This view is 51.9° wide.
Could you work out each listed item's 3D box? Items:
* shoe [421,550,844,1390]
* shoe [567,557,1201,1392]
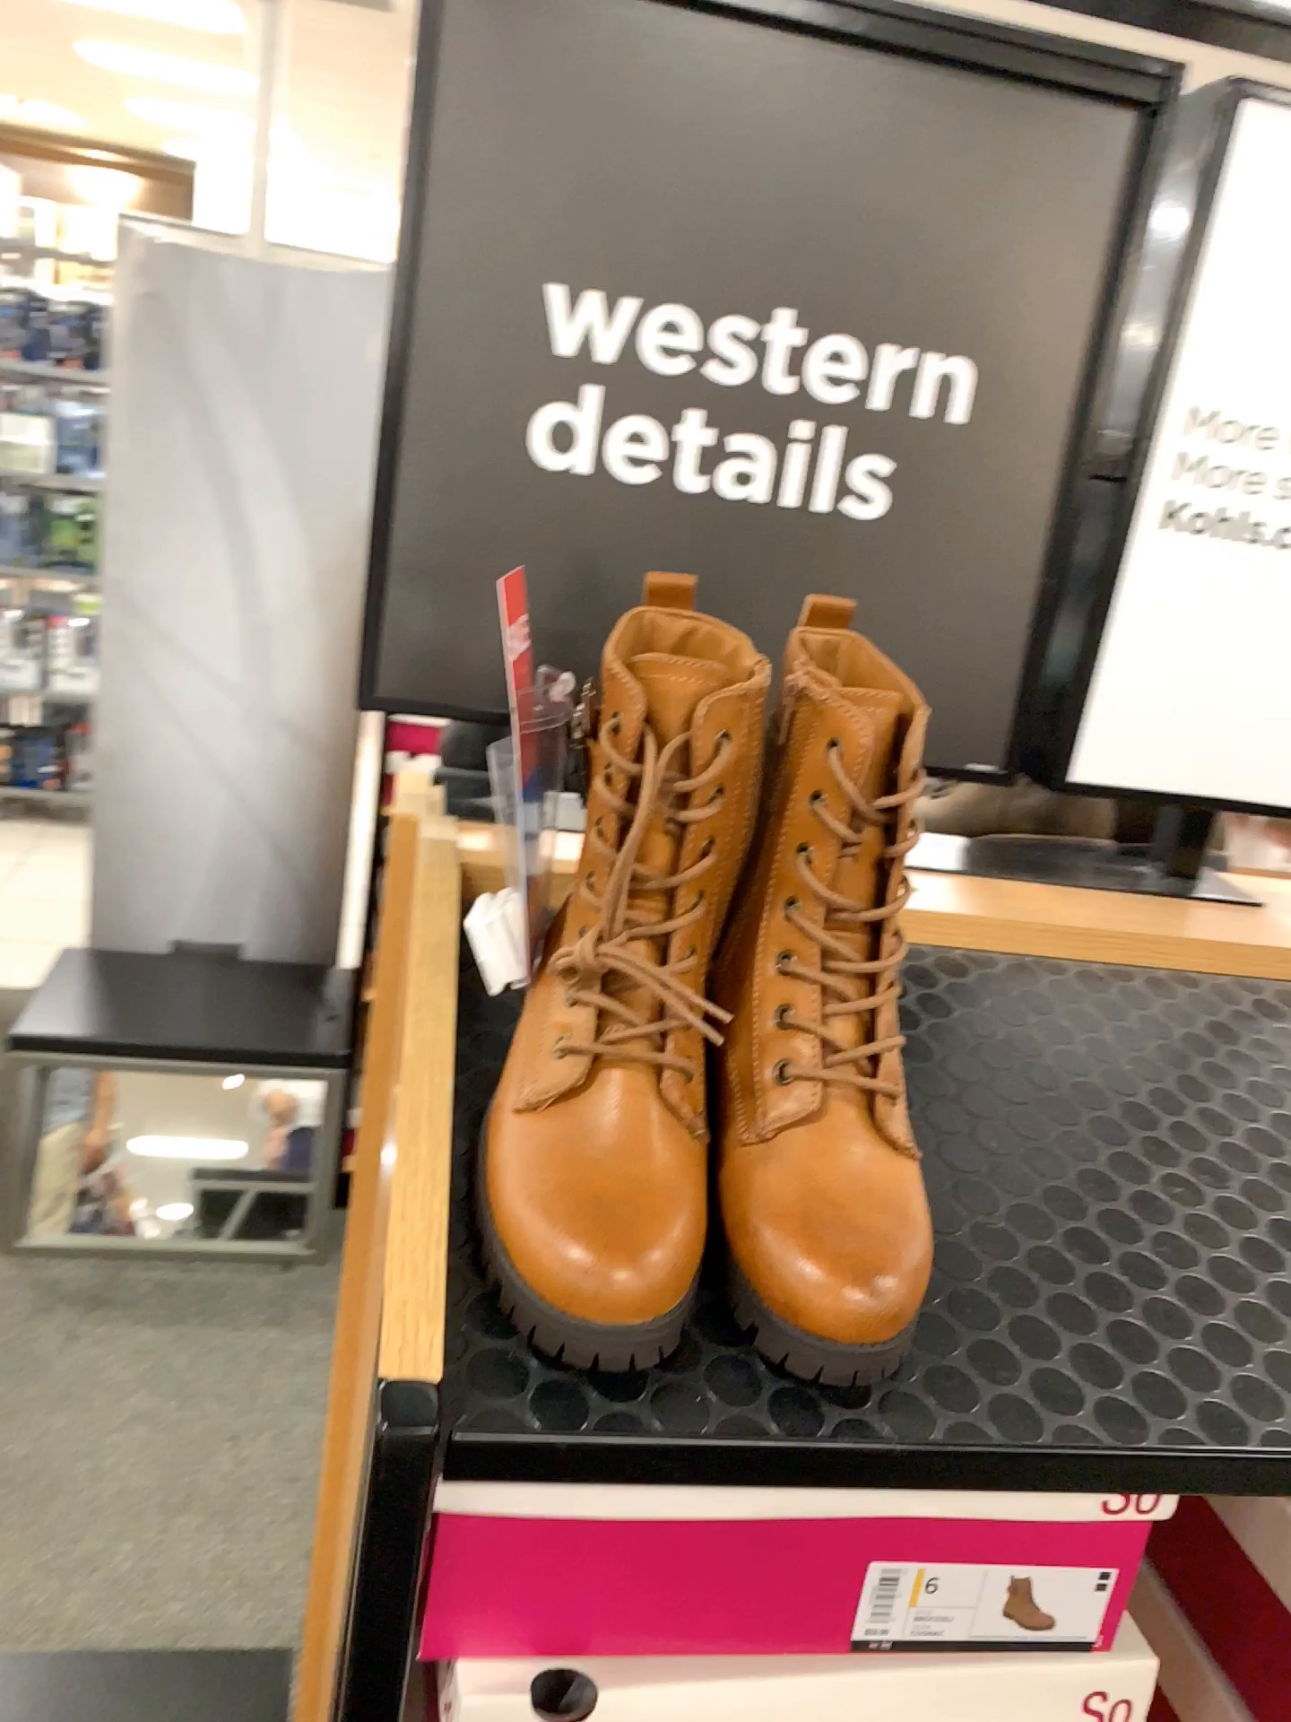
[{"bbox_3d":[-0.010,0.012,0.521,0.090,0.229,0.277,8,17,-3],"label":"shoe"},{"bbox_3d":[0.060,0.018,0.534,0.110,0.229,0.287,5,18,-14],"label":"shoe"}]
